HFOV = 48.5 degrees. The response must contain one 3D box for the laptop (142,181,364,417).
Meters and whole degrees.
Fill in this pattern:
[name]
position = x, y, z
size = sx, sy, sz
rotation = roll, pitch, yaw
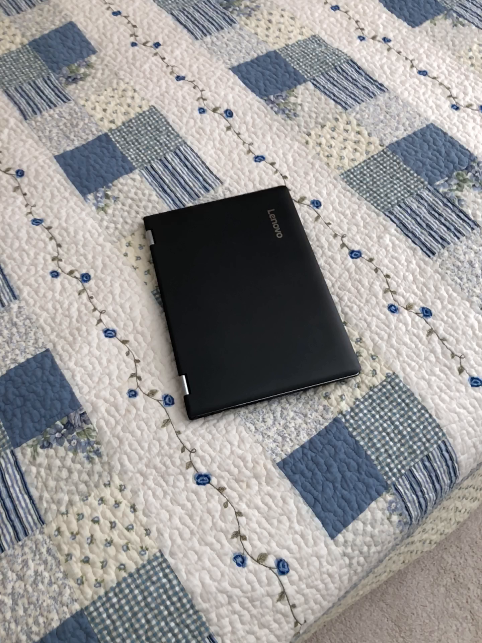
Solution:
[laptop]
position = 0.002, -0.049, 0.732
size = 0.223, 0.008, 0.321
rotation = -15, 61, -4
